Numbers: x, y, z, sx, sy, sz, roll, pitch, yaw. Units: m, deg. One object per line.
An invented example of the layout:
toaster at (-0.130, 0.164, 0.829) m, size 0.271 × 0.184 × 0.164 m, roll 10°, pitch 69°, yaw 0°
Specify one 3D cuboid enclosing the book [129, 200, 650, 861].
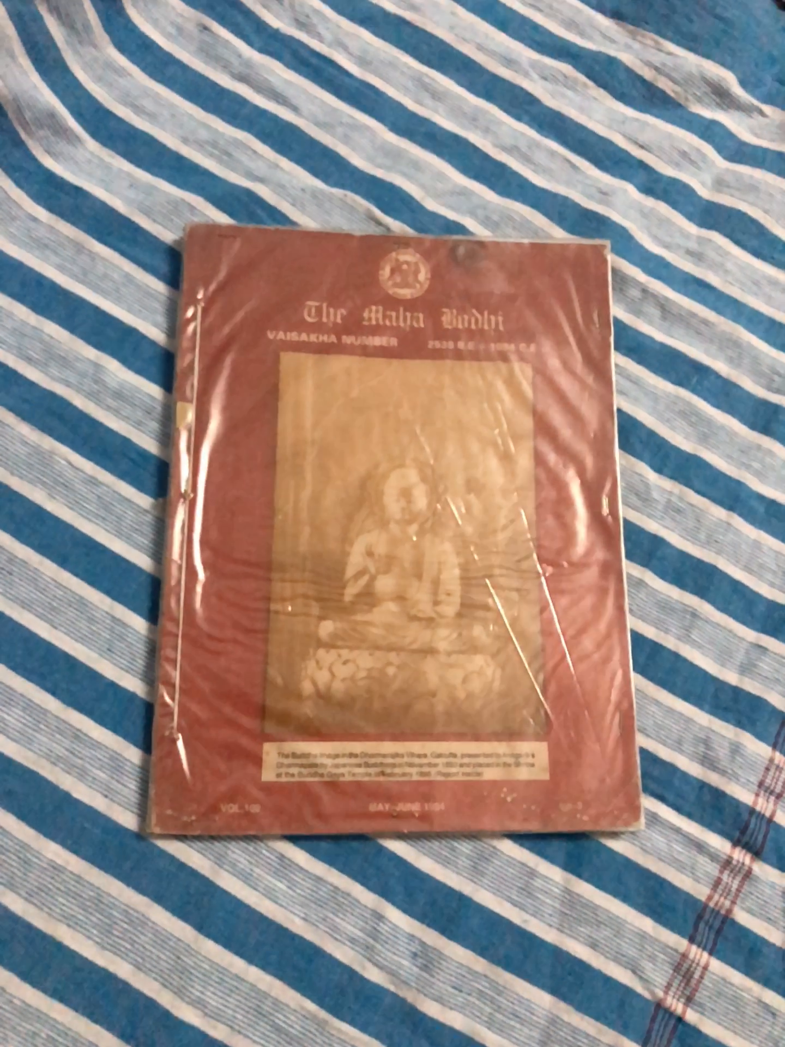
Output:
book at (-0.001, -0.006, 0.340) m, size 0.180 × 0.020 × 0.250 m, roll 1°, pitch 75°, yaw -8°
